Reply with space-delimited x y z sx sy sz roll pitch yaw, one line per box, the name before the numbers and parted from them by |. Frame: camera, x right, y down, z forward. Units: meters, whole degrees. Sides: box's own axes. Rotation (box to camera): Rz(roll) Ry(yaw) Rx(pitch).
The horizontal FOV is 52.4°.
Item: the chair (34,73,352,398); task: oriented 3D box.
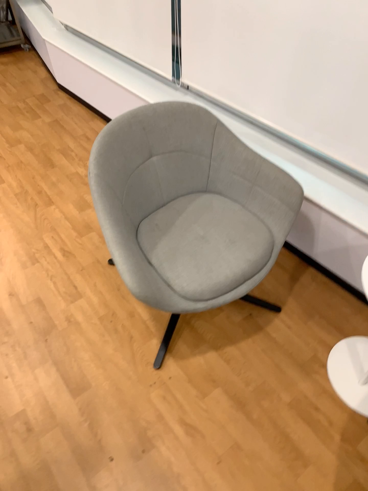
chair | 0.007 -0.054 1.390 0.672 0.754 0.683 -28 54 -23
